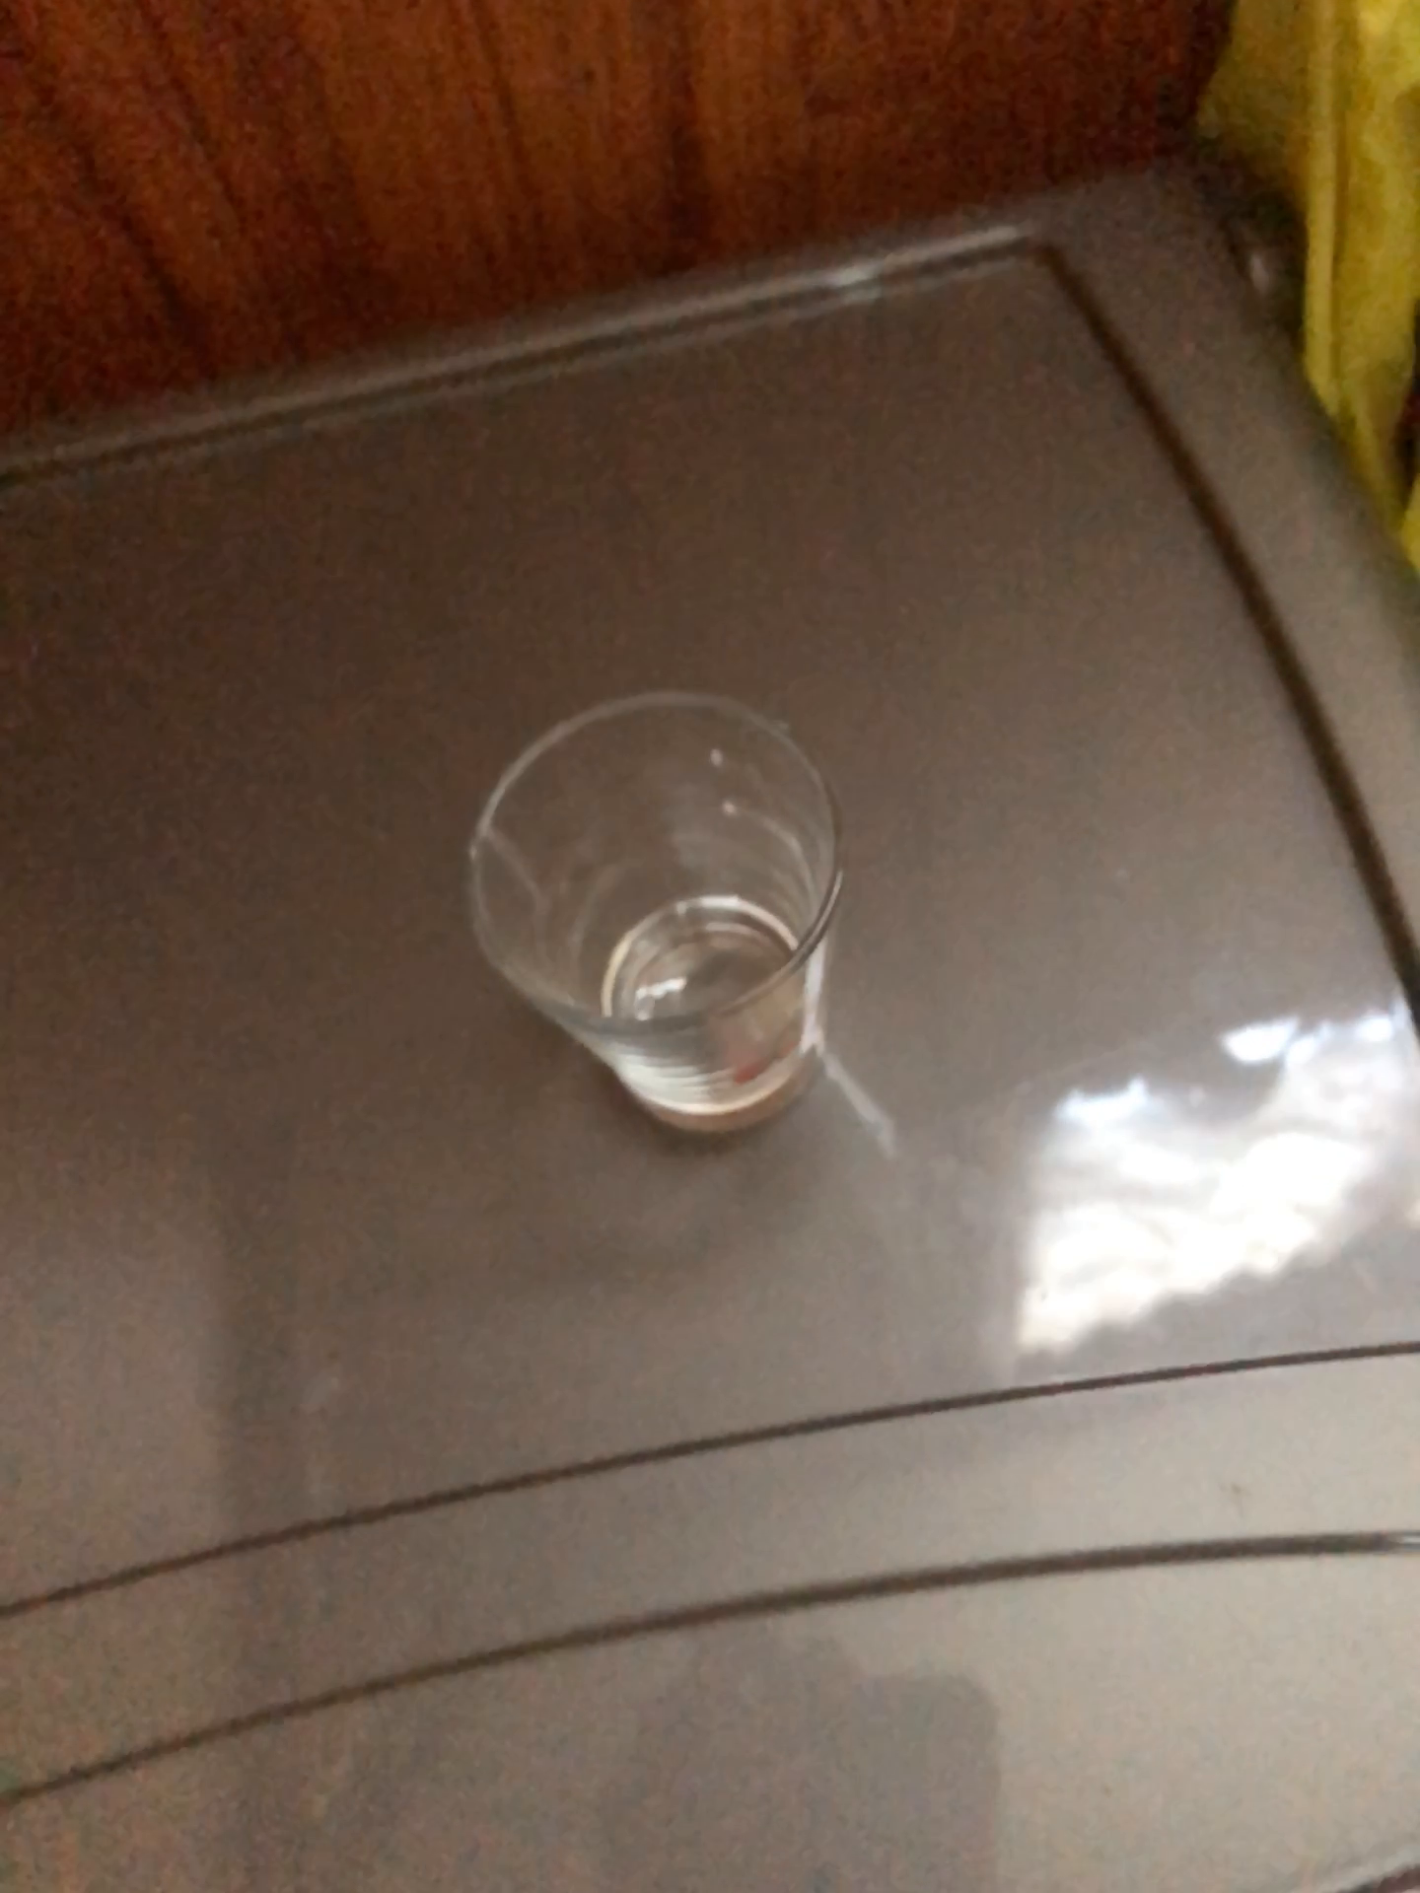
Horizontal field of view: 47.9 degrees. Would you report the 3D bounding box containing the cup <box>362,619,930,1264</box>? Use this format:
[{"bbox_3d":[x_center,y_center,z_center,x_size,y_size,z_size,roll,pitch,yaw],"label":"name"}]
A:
[{"bbox_3d":[-0.005,0.002,0.271,0.060,0.080,0.060,-3,64,7],"label":"cup"}]
